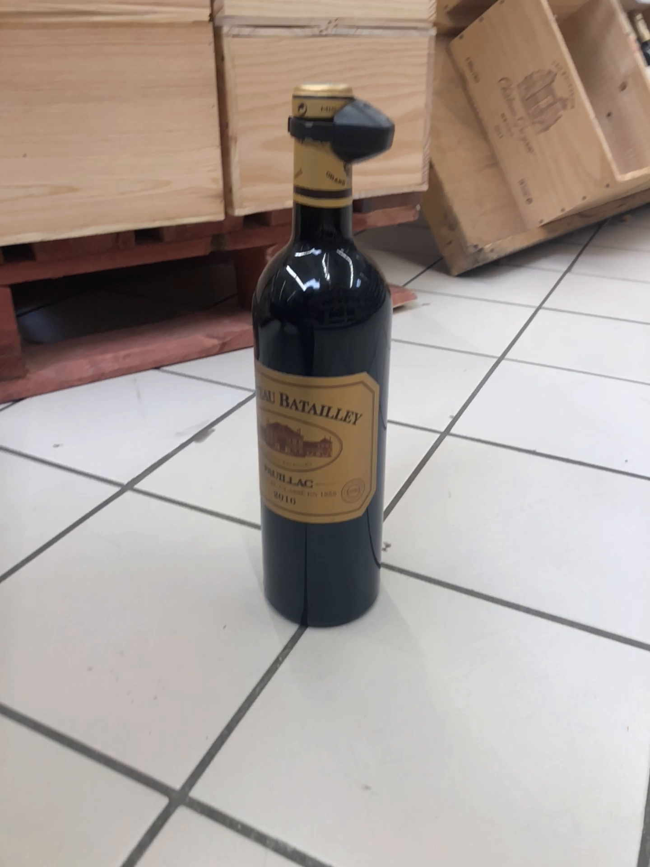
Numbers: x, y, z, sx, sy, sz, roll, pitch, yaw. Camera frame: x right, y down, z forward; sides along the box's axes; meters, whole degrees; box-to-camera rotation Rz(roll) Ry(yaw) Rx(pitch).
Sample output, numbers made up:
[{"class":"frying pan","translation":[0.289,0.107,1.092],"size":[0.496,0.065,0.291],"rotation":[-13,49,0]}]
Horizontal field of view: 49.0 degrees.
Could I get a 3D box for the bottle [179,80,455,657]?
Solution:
[{"class":"bottle","translation":[-0.002,-0.031,0.392],"size":[0.090,0.288,0.091],"rotation":[0,28,0]}]
